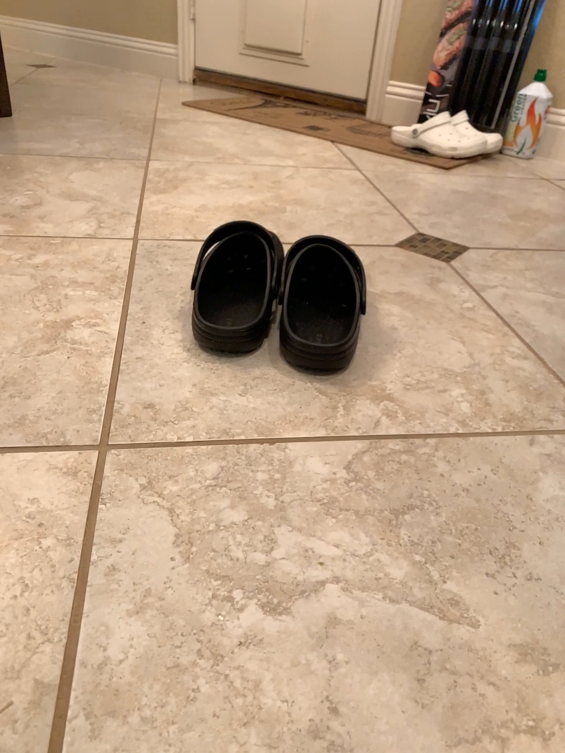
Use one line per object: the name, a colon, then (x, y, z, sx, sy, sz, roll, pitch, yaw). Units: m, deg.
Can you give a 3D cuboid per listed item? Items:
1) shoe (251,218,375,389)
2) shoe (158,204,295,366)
shoe: (0.047, -0.105, 0.716, 0.113, 0.085, 0.279, 9, 33, 5)
shoe: (-0.058, -0.129, 0.732, 0.123, 0.085, 0.279, 7, 32, 1)
